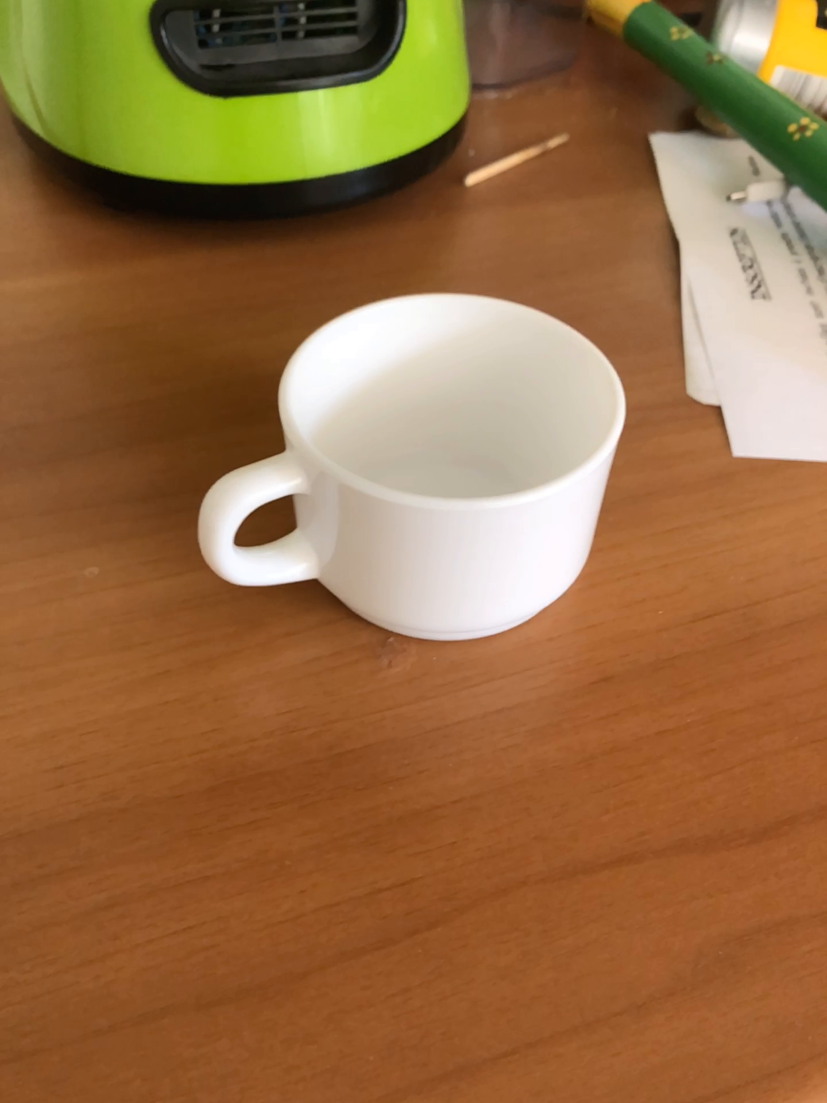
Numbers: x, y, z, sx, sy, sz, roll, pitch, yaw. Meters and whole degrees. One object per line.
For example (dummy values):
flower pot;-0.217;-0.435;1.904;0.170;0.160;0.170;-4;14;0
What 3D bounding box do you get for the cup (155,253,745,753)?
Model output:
cup;0.005;-0.017;0.216;0.100;0.050;0.080;-20;51;-19
